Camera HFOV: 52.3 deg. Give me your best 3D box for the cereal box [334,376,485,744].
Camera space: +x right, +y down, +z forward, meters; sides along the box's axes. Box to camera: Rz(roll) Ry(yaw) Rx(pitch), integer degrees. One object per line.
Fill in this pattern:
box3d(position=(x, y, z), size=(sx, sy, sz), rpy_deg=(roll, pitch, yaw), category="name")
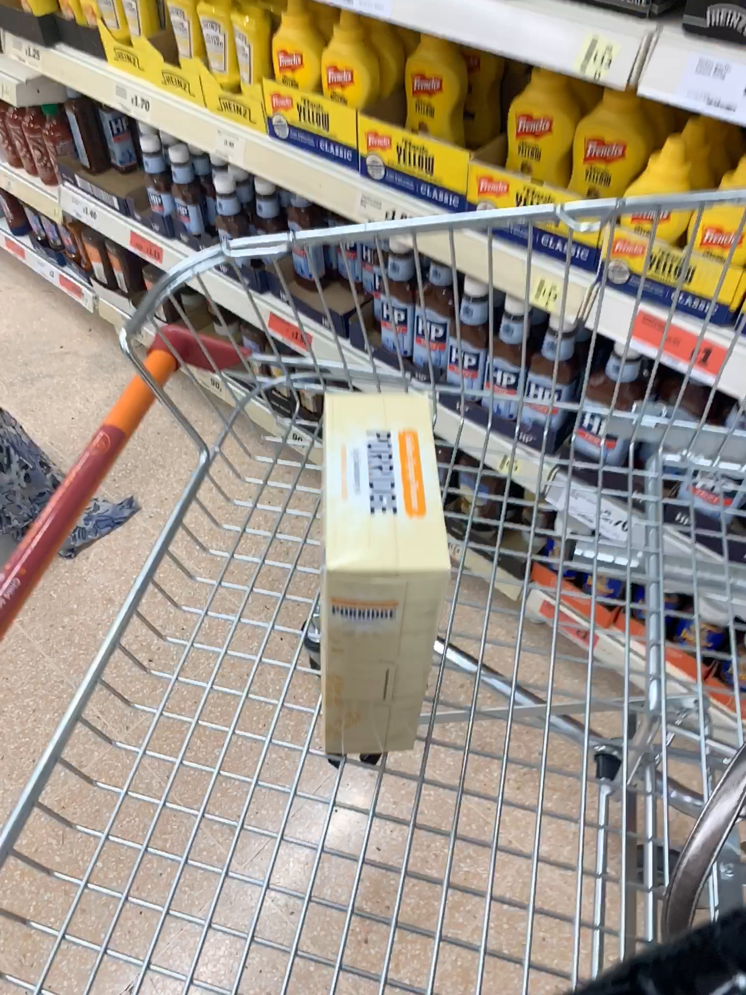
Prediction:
box3d(position=(0.012, 0.047, 0.477), size=(0.070, 0.208, 0.131), rpy_deg=(-1, 49, -3), category="cereal box")
